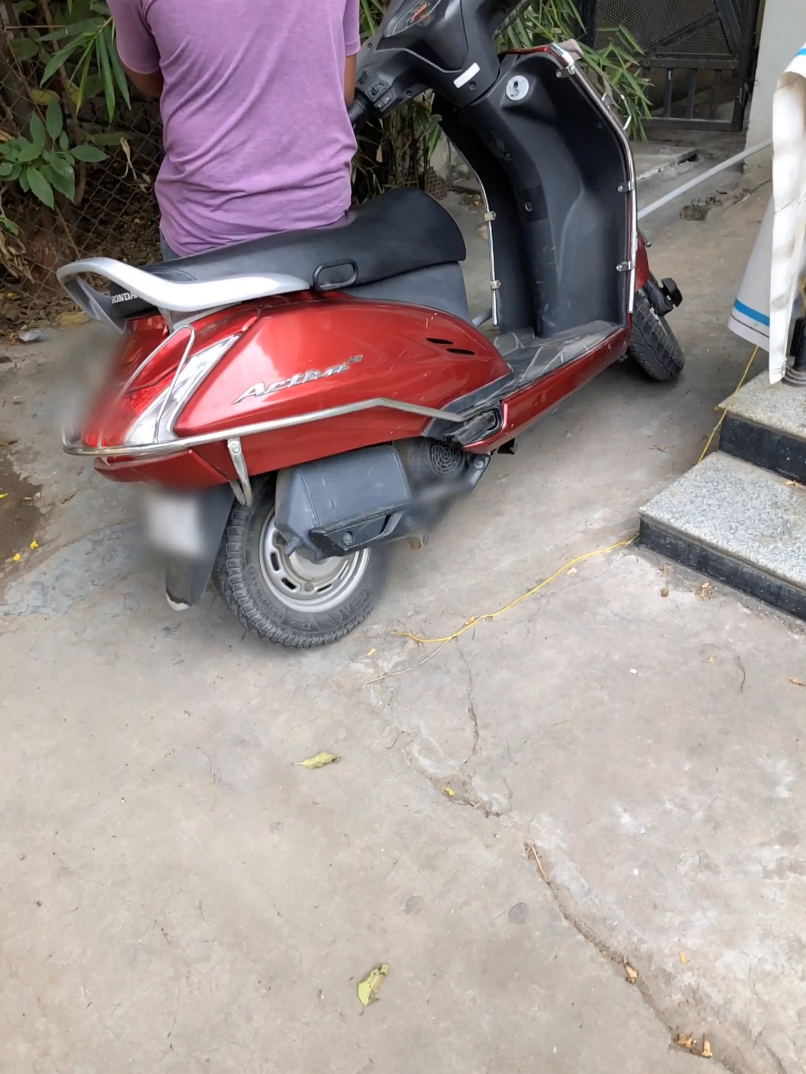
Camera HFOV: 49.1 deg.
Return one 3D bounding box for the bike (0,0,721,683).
[{"bbox_3d":[0.016,-0.659,1.863,0.572,1.056,1.485,22,47,33],"label":"bike"}]
